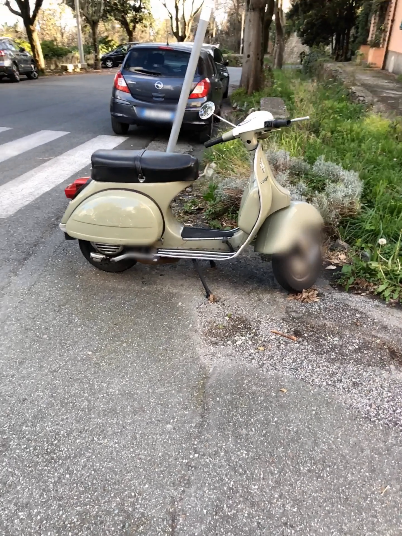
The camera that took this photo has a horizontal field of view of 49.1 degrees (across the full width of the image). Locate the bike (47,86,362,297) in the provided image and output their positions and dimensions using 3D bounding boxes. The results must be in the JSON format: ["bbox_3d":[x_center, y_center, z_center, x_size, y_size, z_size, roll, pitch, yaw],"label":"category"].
[{"bbox_3d":[0.001,-0.434,2.536,1.441,1.027,0.624,1,29,3],"label":"bike"}]
